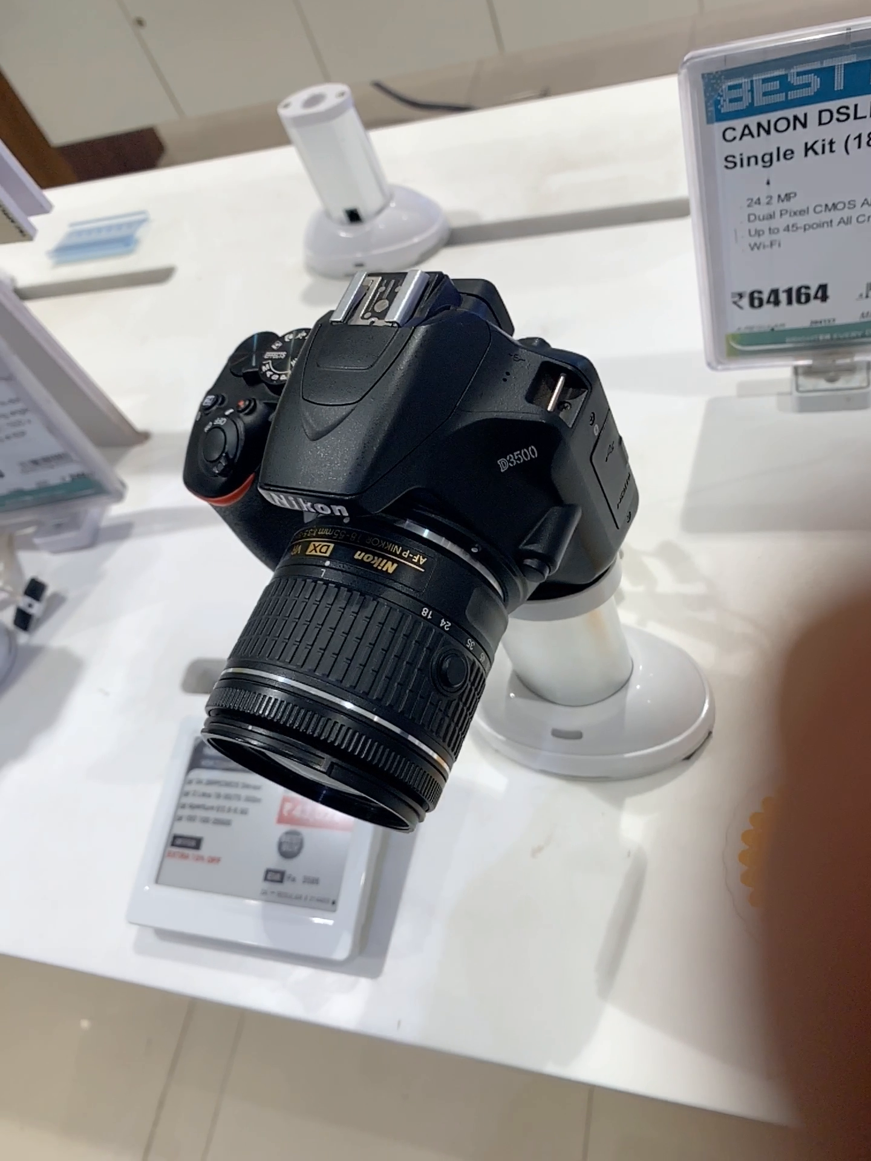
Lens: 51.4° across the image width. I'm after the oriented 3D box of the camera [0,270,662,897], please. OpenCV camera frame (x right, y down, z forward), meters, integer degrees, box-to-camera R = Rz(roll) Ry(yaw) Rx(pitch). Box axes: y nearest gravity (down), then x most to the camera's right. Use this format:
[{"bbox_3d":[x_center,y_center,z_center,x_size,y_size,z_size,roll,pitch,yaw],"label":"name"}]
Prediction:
[{"bbox_3d":[-0.018,-0.003,0.219,0.110,0.090,0.103,11,62,27],"label":"camera"}]
